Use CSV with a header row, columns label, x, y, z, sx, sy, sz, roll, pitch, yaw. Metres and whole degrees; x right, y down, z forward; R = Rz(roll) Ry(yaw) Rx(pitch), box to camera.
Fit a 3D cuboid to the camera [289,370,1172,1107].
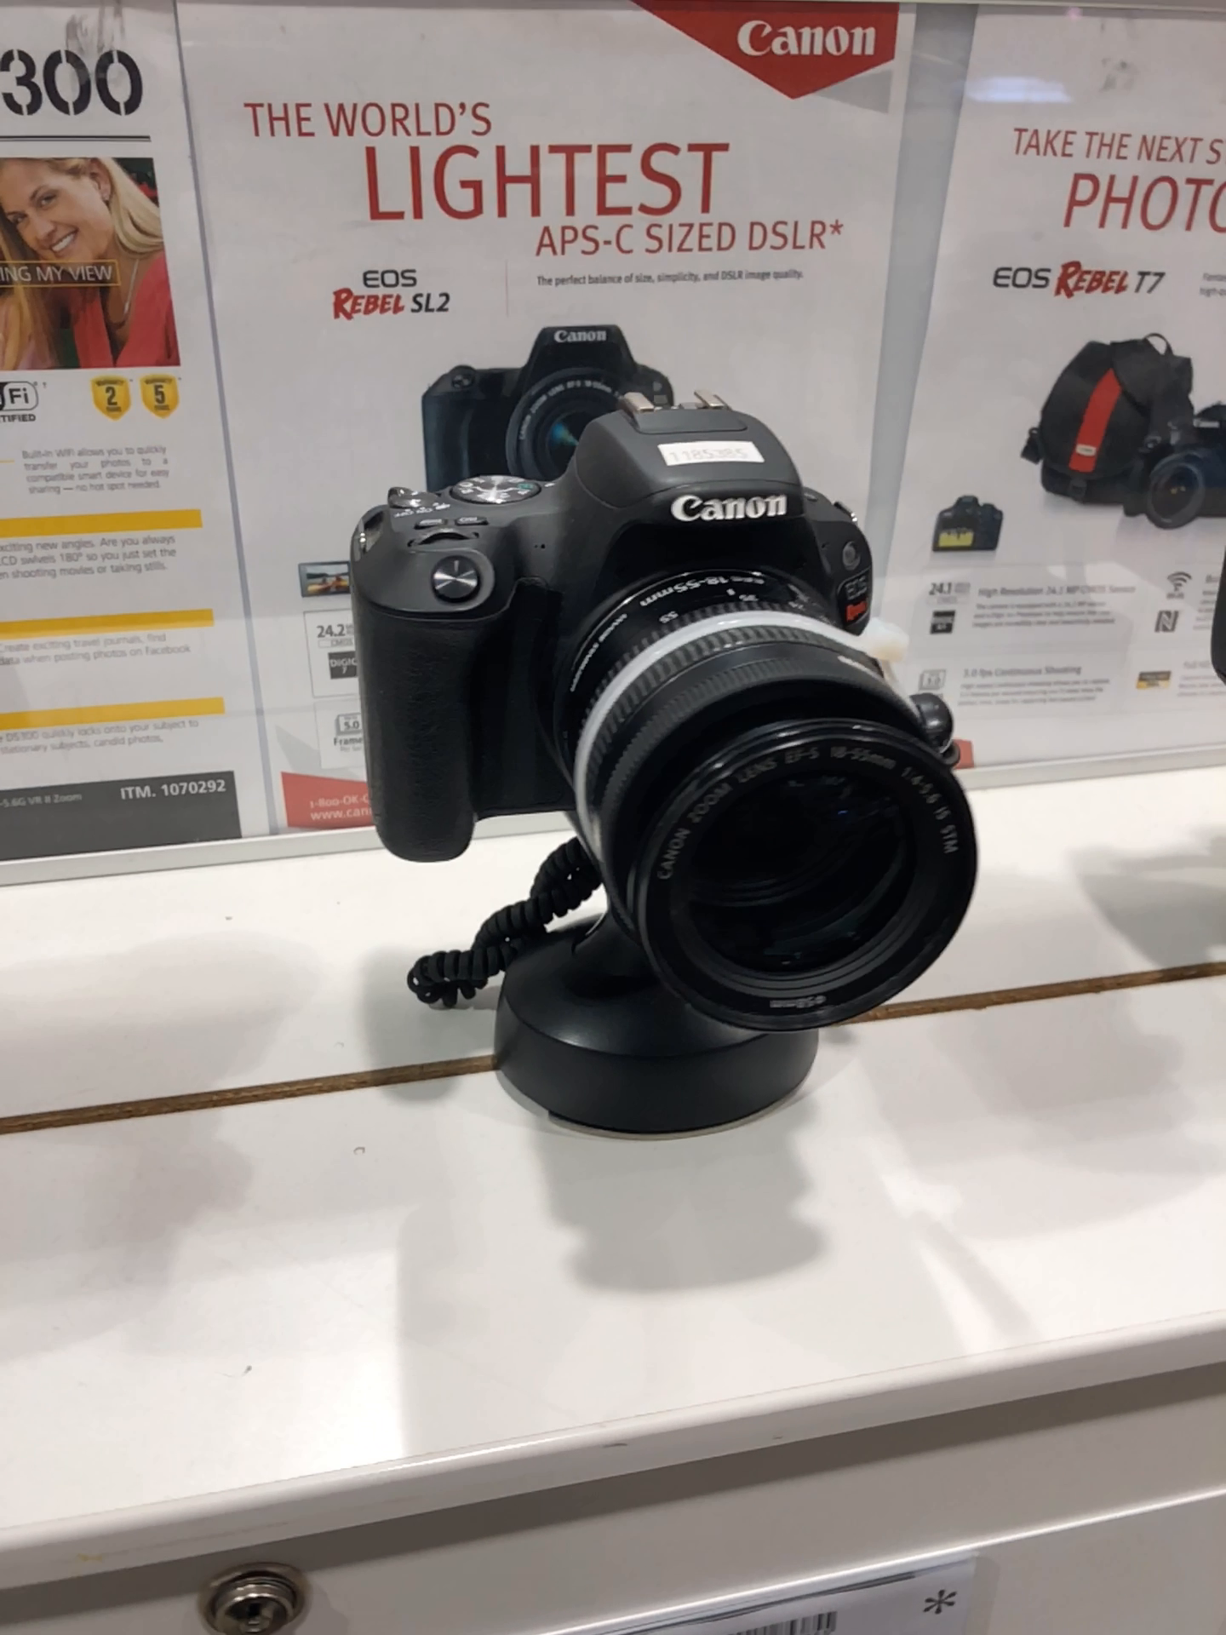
label,x,y,z,sx,sy,sz,roll,pitch,yaw
camera,0.007,-0.031,0.280,0.130,0.090,0.141,-6,28,-12
